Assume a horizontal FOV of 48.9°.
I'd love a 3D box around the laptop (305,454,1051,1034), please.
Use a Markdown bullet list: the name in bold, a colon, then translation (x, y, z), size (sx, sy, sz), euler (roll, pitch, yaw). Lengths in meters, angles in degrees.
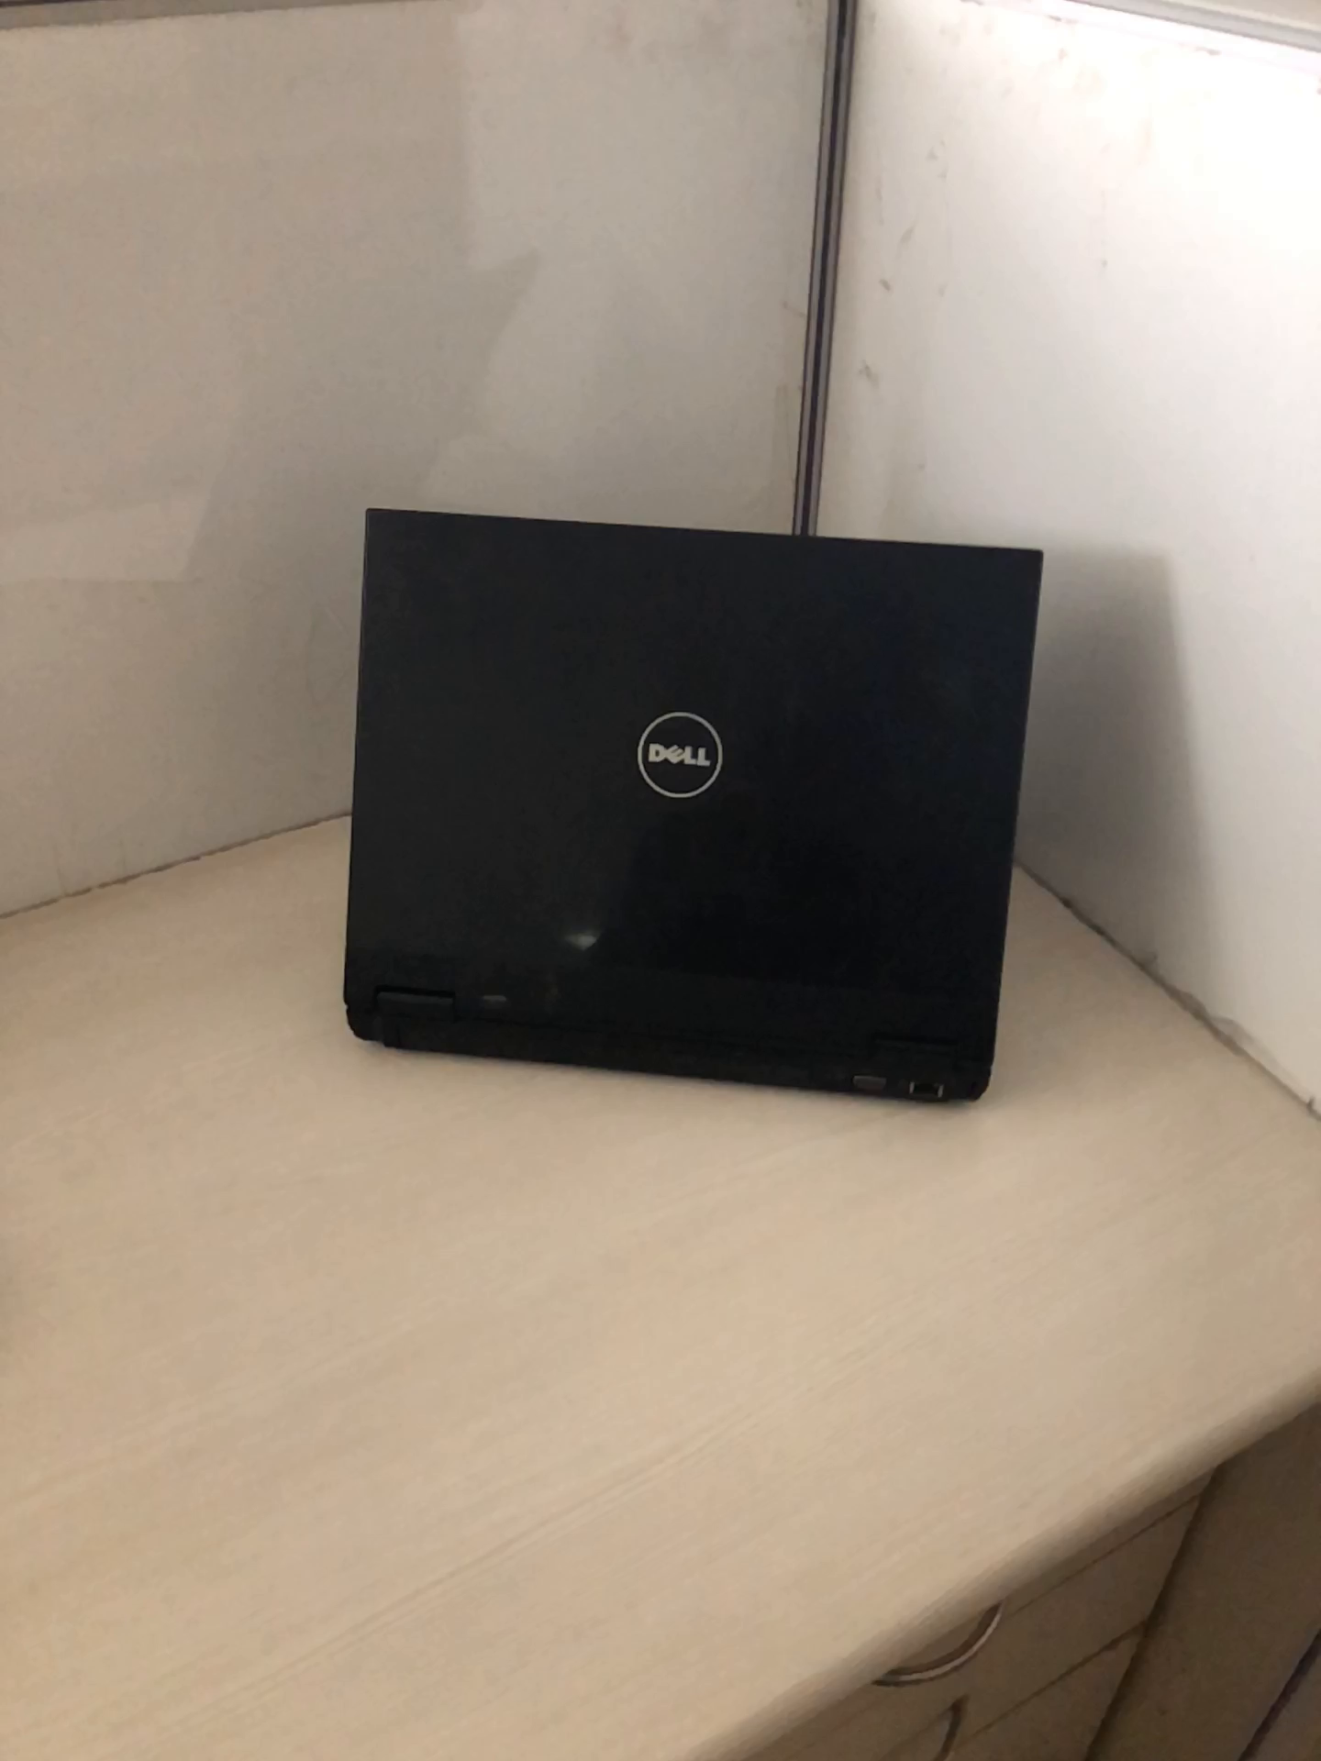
- **laptop**: translation (0.016, -0.080, 0.740), size (0.304, 0.190, 0.231), euler (6, 35, 5)
